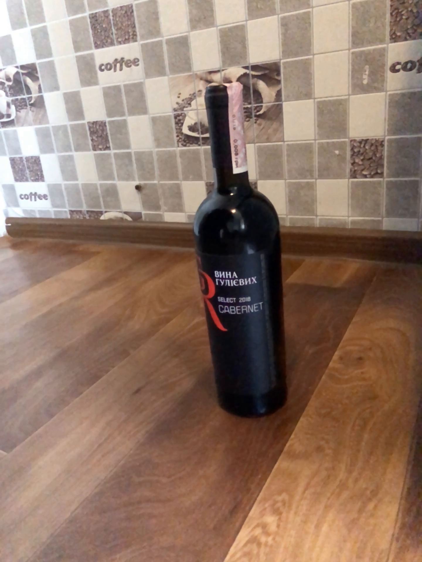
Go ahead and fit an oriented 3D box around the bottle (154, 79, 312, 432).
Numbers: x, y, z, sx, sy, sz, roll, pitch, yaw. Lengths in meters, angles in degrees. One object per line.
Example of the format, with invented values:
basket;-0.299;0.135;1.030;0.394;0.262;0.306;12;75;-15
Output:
bottle;0.031;-0.021;0.431;0.090;0.297;0.090;-5;21;2
